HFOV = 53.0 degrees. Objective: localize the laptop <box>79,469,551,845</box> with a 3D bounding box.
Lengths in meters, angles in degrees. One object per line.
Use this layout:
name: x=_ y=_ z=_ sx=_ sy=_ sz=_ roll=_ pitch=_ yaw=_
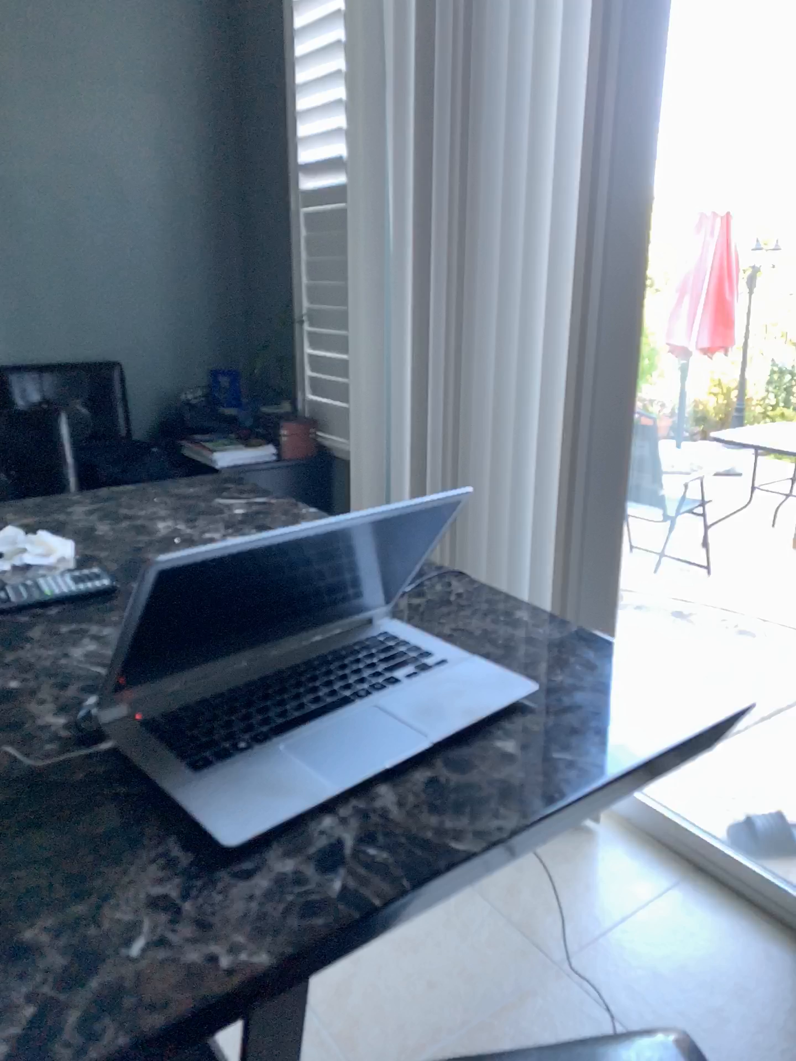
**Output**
laptop: x=-0.067 y=0.079 z=0.758 sx=0.362 sy=0.188 sz=0.234 roll=-14 pitch=22 yaw=-40
